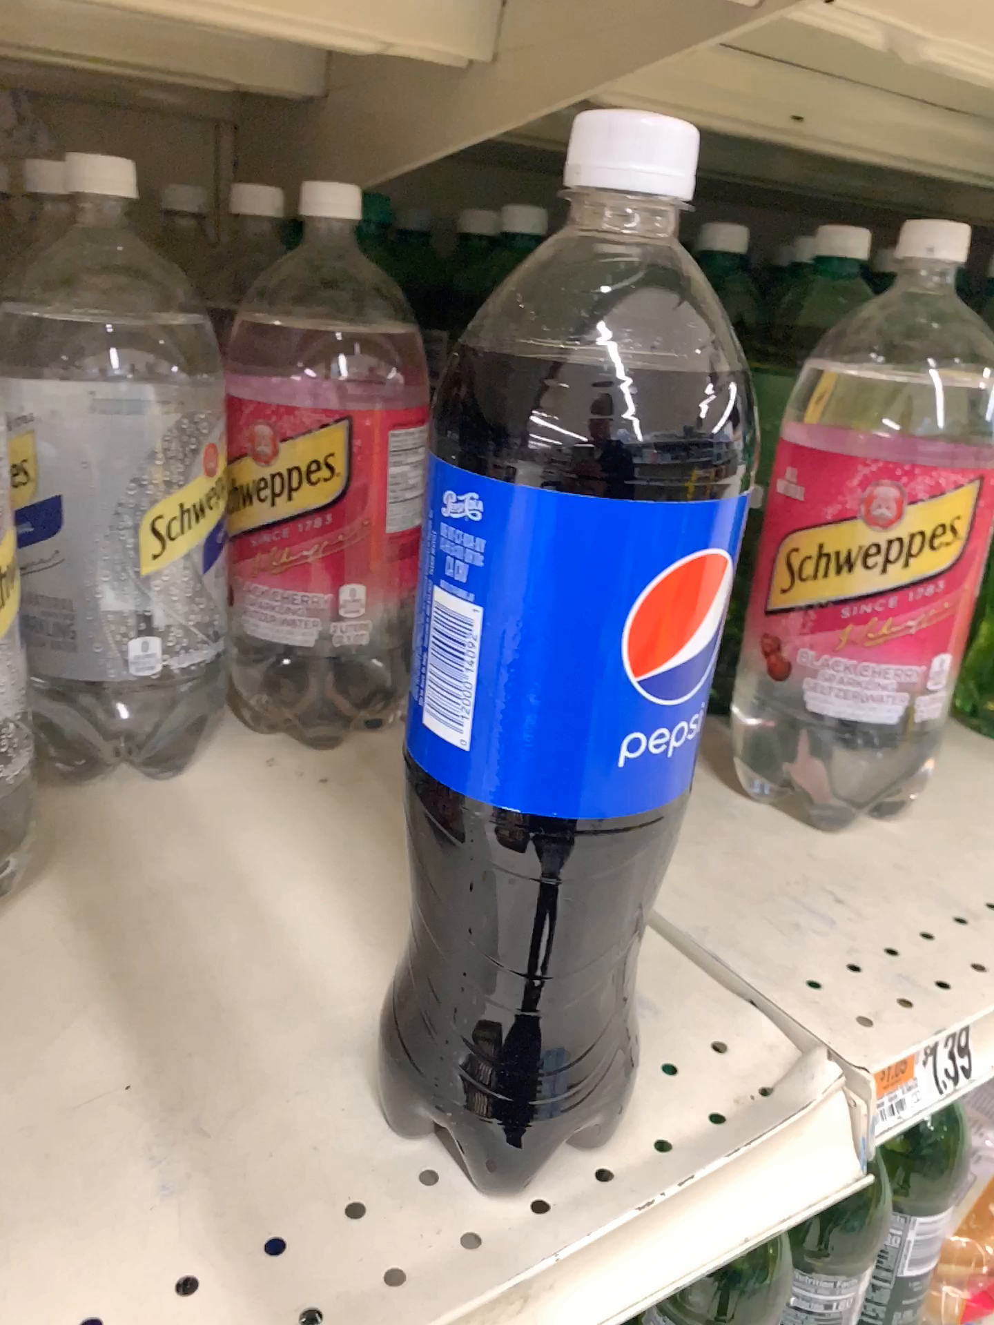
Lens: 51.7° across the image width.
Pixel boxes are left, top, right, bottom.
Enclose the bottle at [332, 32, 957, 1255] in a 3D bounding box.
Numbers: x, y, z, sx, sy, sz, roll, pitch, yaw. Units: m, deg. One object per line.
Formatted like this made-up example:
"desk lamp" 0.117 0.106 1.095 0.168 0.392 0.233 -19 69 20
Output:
"bottle" 0.025 0.002 0.283 0.101 0.279 0.090 -10 25 -35
